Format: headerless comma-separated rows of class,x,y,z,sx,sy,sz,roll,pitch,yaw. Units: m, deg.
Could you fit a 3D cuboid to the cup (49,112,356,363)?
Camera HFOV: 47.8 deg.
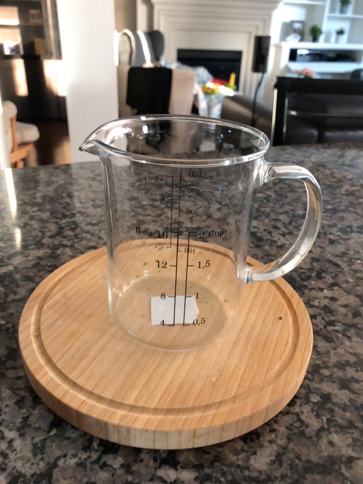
cup,0.005,-0.010,0.274,0.150,0.128,0.106,-1,28,-7
